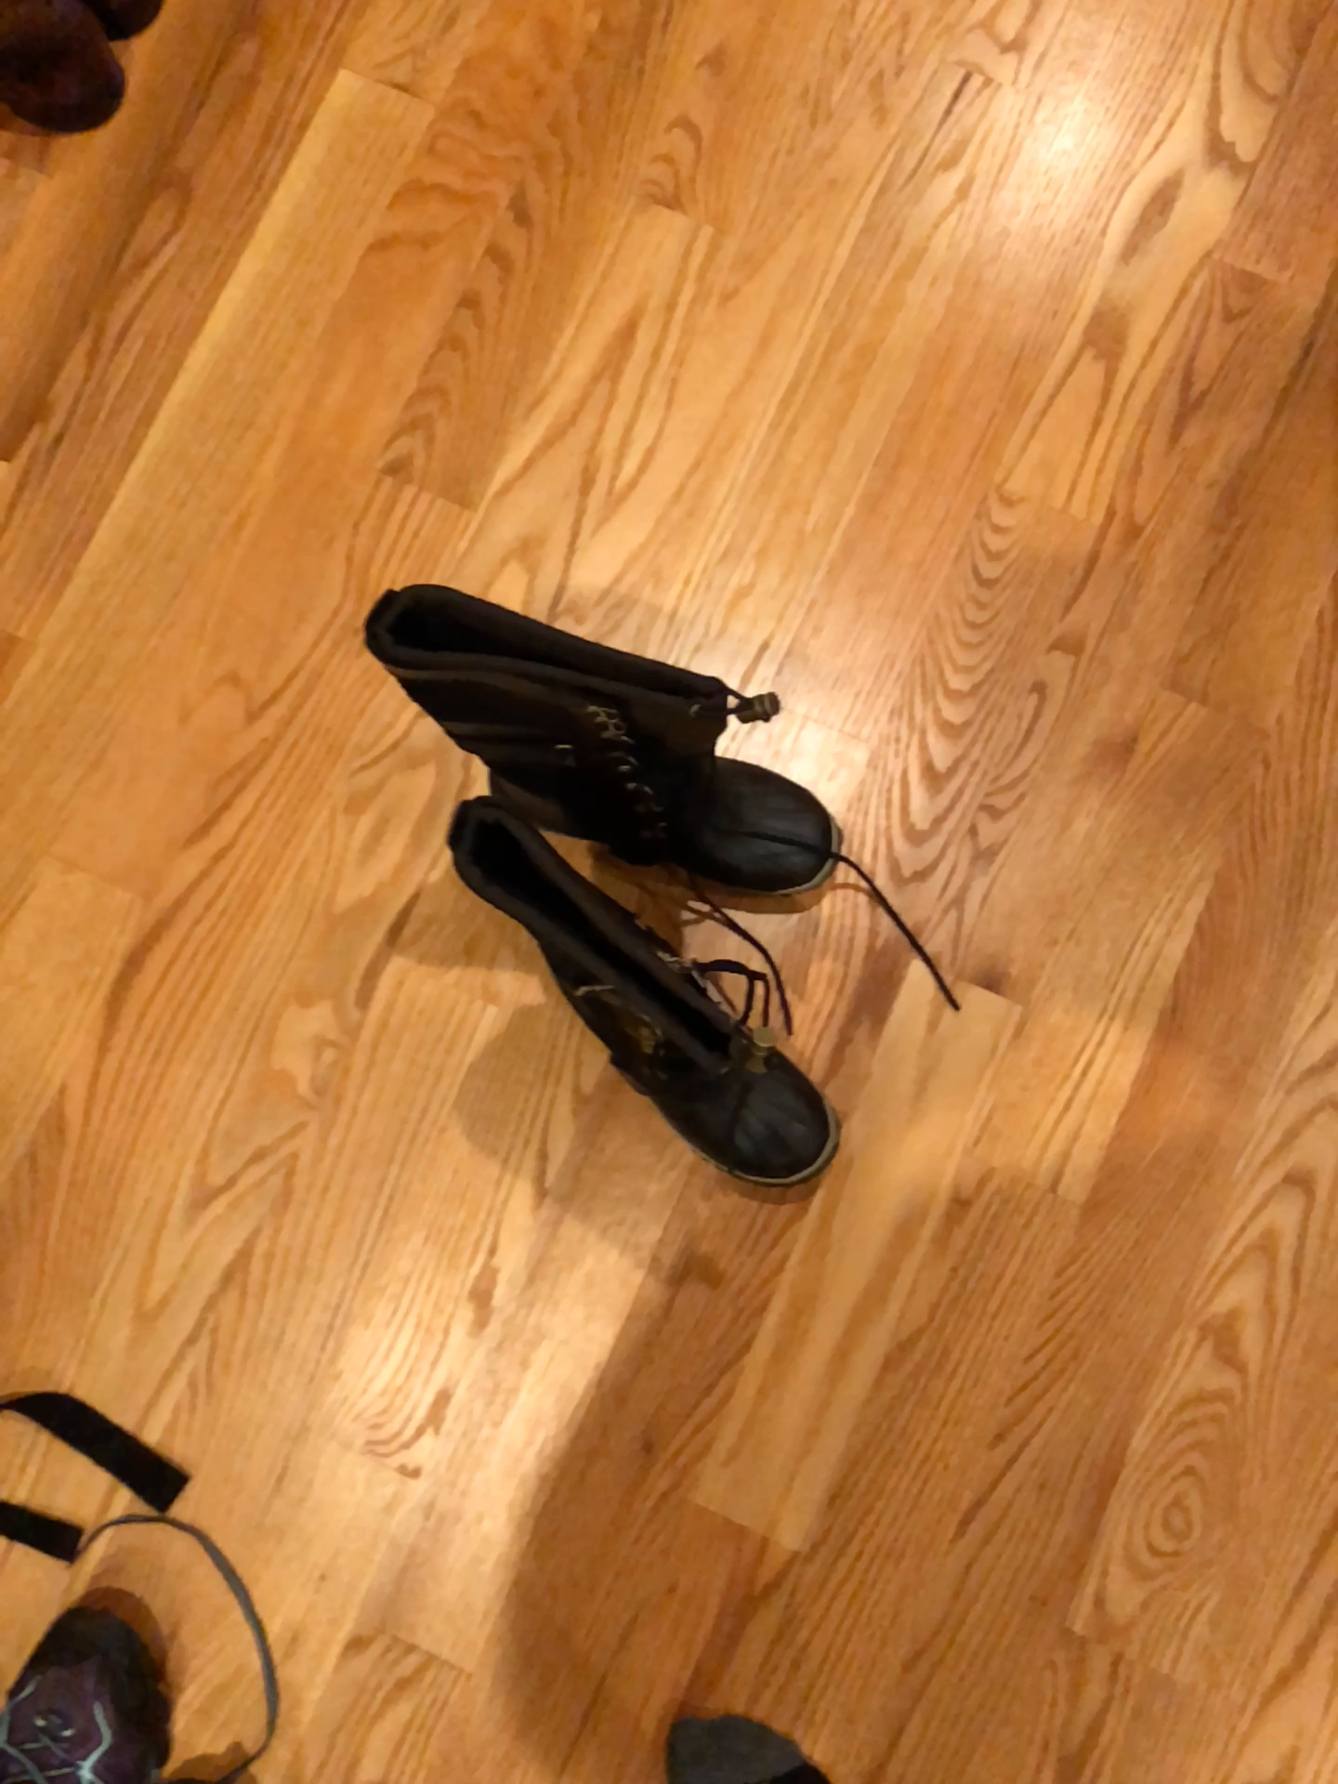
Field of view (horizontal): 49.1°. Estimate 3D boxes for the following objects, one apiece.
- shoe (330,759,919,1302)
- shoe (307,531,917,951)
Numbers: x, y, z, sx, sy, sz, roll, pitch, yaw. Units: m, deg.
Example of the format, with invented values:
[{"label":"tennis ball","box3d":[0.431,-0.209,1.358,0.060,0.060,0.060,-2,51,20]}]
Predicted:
[{"label":"shoe","box3d":[-0.018,0.084,0.808,0.260,0.310,0.100,39,84,7]},{"label":"shoe","box3d":[-0.022,-0.064,0.824,0.260,0.330,0.100,12,81,3]}]
